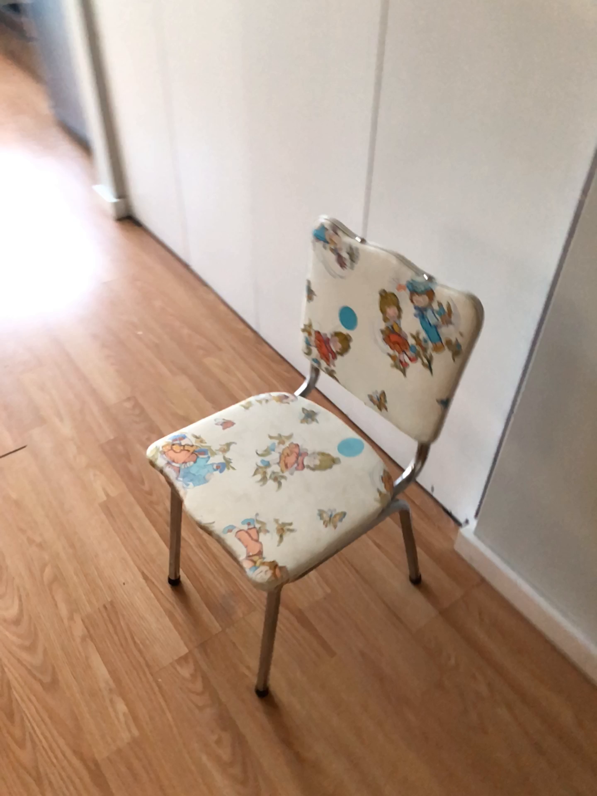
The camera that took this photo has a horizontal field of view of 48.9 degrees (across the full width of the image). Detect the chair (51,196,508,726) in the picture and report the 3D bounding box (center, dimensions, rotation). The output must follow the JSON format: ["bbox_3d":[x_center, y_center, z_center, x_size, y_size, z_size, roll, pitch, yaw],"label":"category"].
[{"bbox_3d":[-0.028,0.092,0.944,0.391,0.558,0.350,-29,51,-27],"label":"chair"}]
